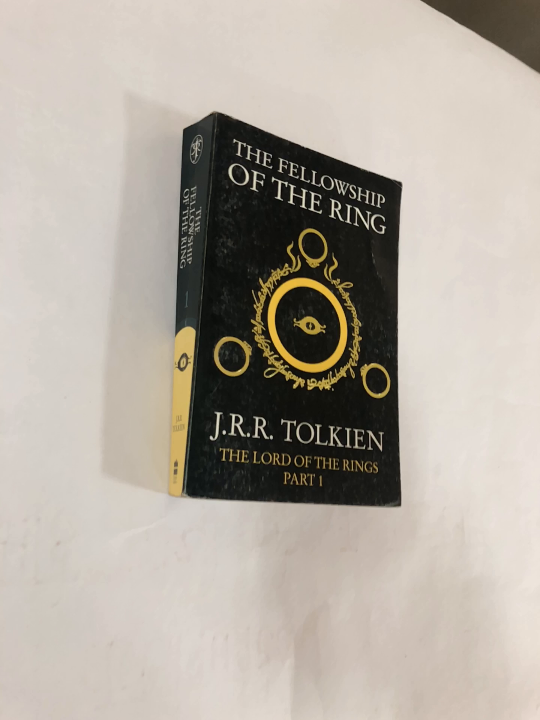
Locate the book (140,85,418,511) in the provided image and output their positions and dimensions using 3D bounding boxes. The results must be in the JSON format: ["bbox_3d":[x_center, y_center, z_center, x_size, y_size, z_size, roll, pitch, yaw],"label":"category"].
[{"bbox_3d":[0.012,-0.025,0.327,0.130,0.050,0.200,11,75,-25],"label":"book"}]
